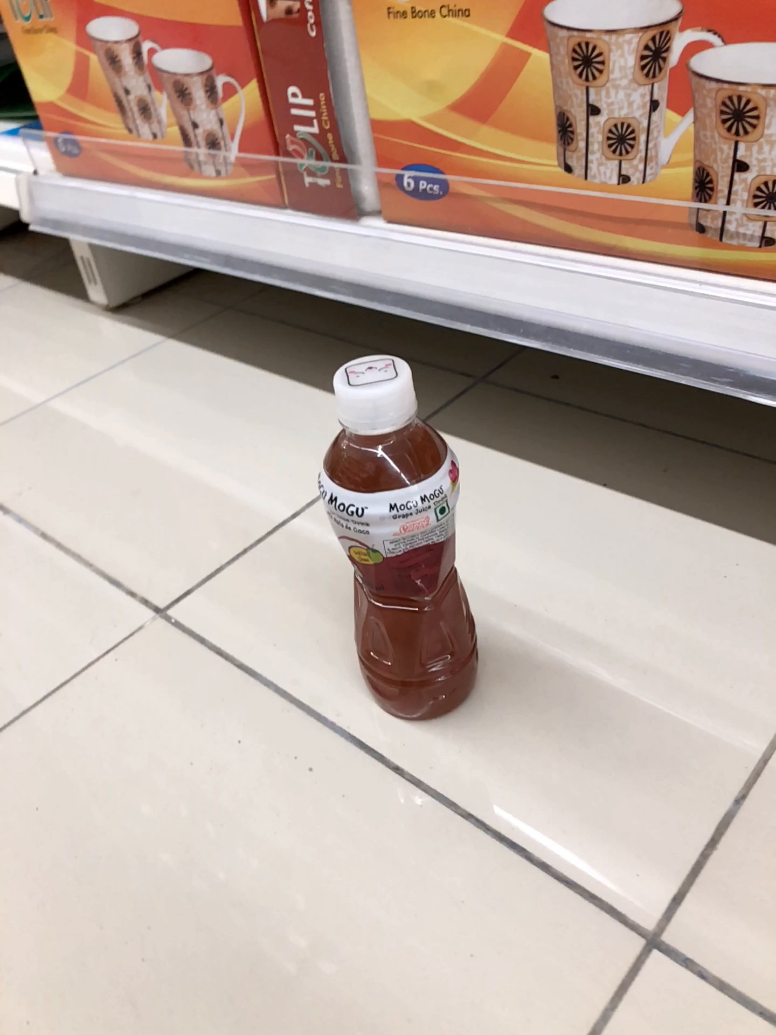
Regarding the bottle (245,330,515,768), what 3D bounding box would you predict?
[{"bbox_3d":[0.001,0.016,0.365,0.070,0.159,0.070,-6,36,4],"label":"bottle"}]
